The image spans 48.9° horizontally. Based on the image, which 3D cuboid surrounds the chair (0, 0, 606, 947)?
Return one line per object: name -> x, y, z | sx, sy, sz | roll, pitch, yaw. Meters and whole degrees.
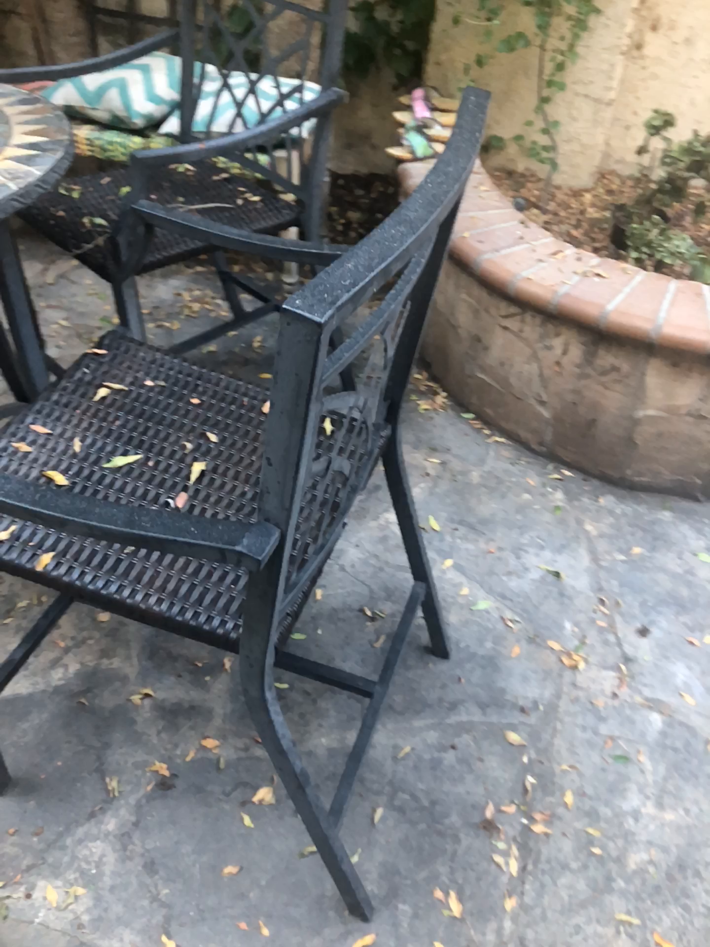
chair -> -0.174, 0.006, 1.017 | 0.690, 0.912, 0.686 | 15, 45, 13
